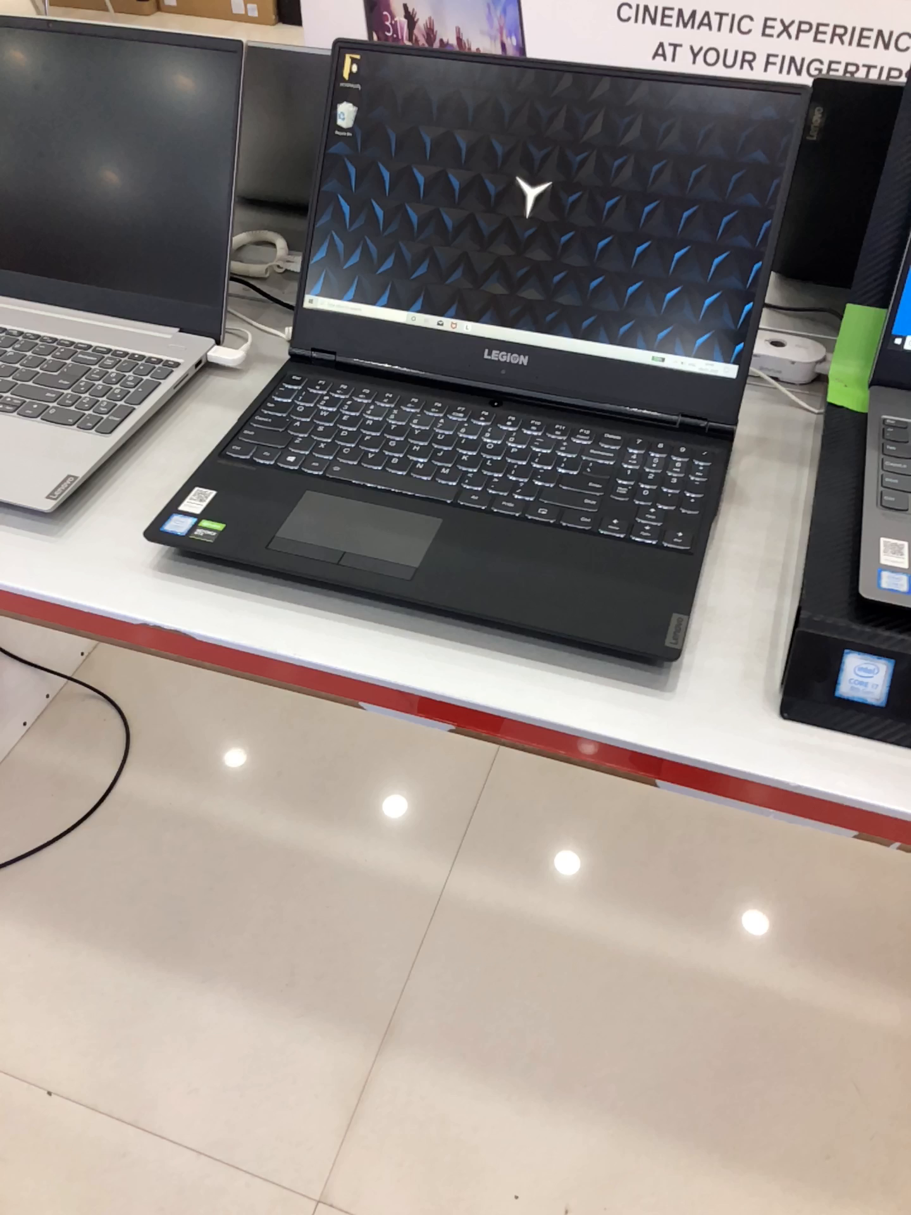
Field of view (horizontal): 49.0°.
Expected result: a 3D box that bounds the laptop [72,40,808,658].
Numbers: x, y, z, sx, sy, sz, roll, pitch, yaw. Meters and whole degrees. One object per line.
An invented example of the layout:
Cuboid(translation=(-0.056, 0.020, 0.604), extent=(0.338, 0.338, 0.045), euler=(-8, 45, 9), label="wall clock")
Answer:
Cuboid(translation=(0.020, -0.194, 0.649), extent=(0.333, 0.191, 0.349), euler=(13, 46, 12), label="laptop")
